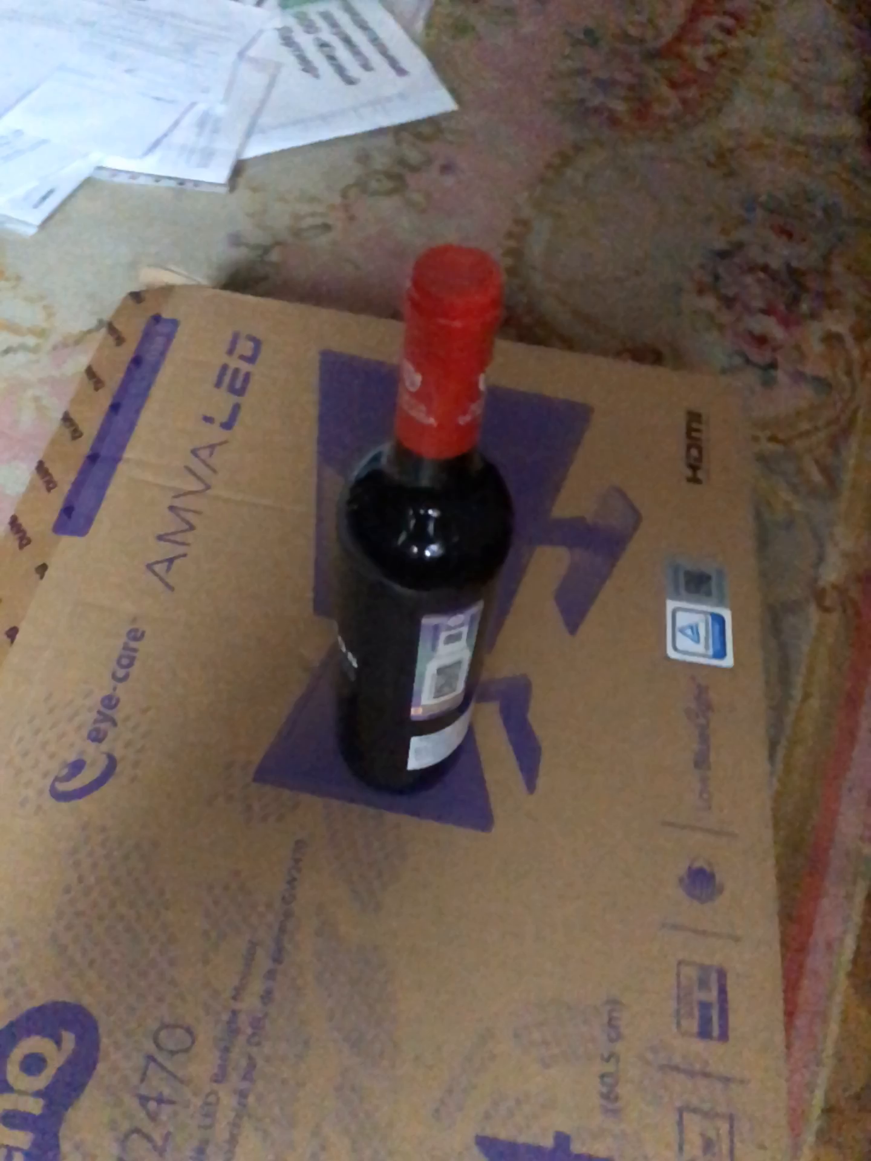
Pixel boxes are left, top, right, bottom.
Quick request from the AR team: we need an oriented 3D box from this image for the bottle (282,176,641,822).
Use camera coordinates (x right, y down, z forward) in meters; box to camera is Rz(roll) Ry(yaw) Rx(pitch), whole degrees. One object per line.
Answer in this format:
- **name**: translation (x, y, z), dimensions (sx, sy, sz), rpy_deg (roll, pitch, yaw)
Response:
- **bottle**: translation (-0.003, 0.000, 0.398), dimensions (0.090, 0.299, 0.090), rpy_deg (3, 57, -5)
